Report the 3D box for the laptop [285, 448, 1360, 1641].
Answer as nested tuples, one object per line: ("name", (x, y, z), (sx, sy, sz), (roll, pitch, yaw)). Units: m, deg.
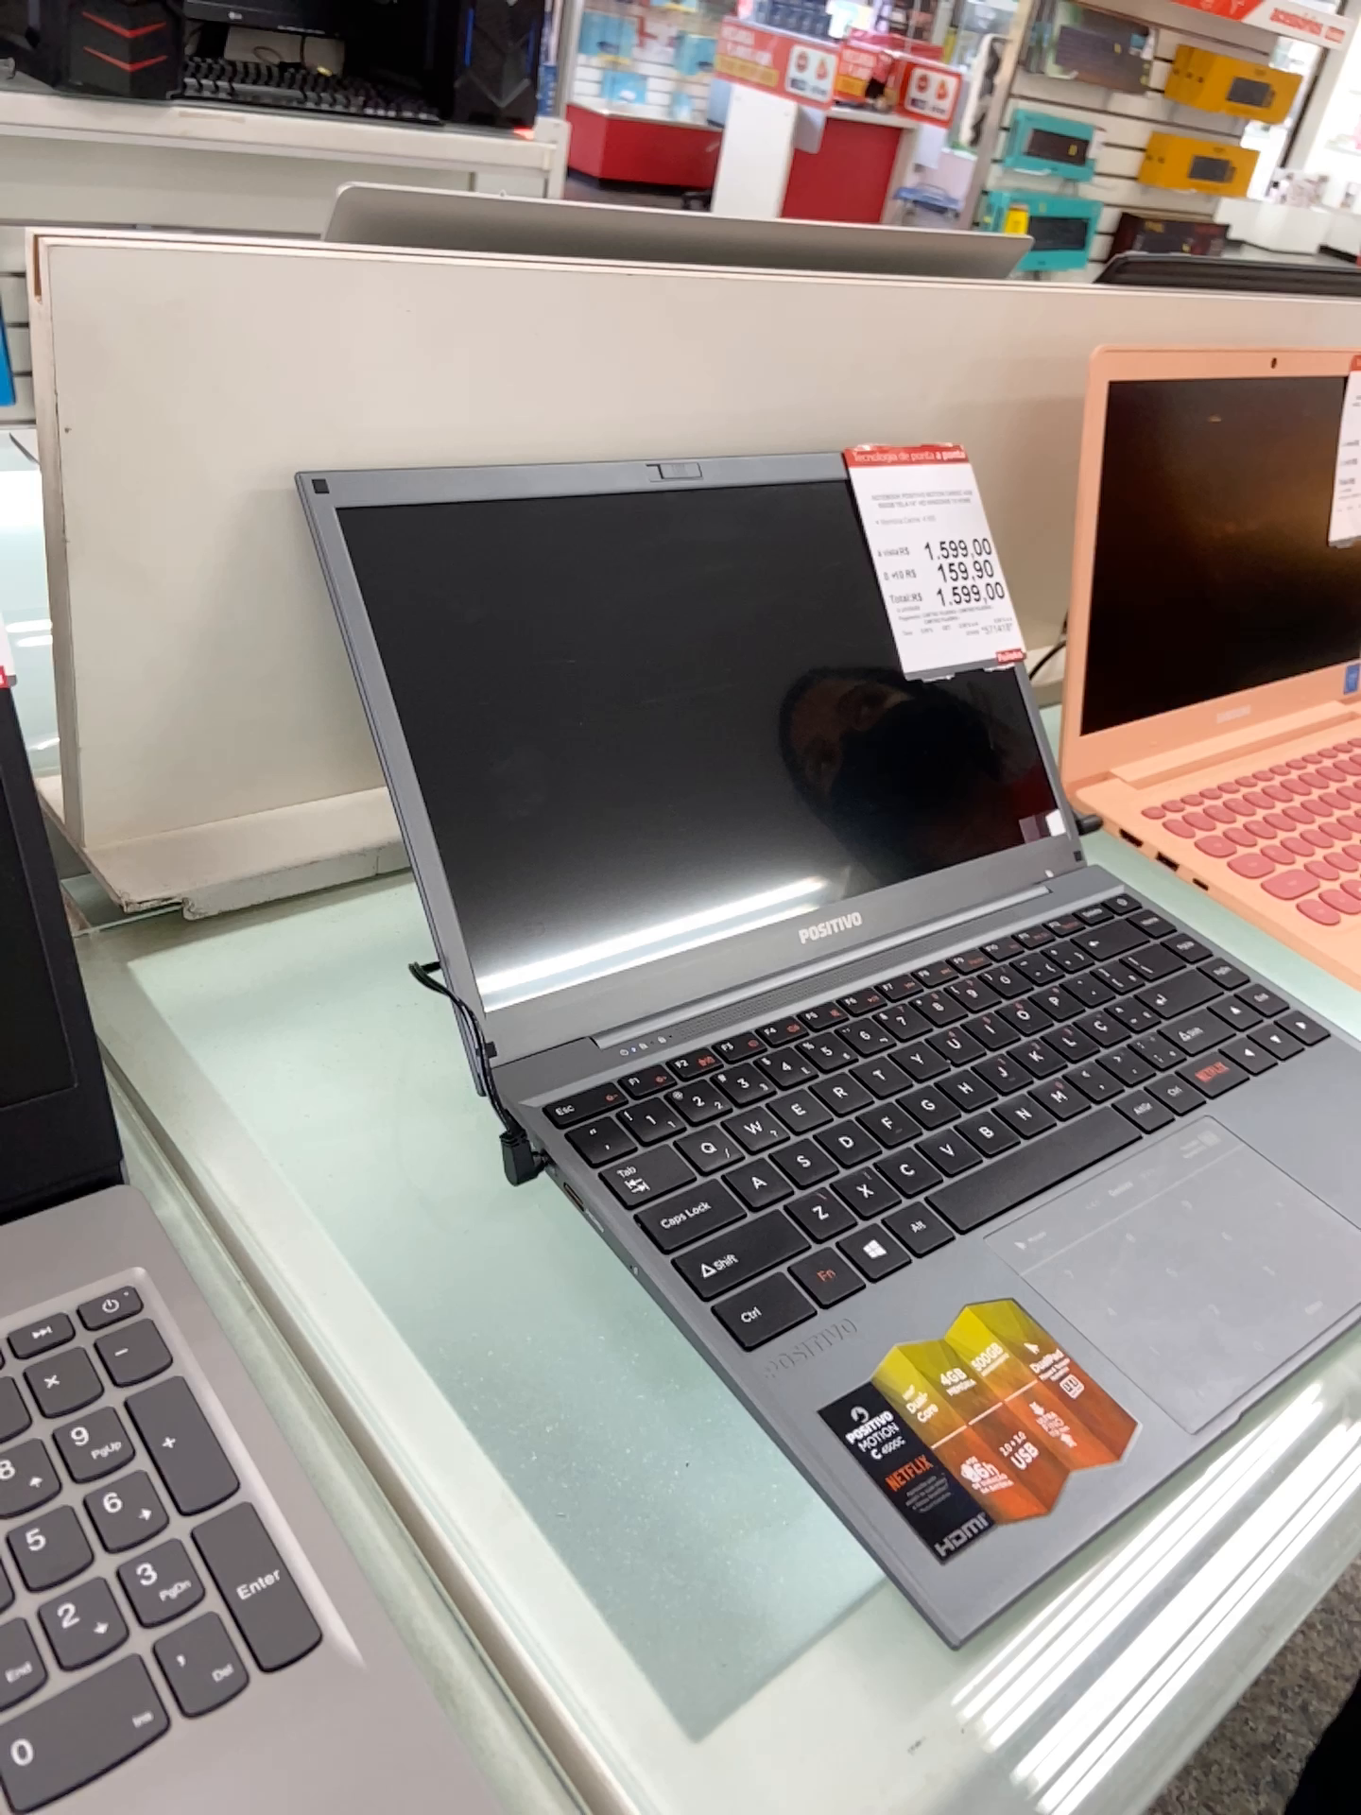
("laptop", (0.097, -0.024, 0.495), (0.334, 0.144, 0.367), (-15, 42, -36))
